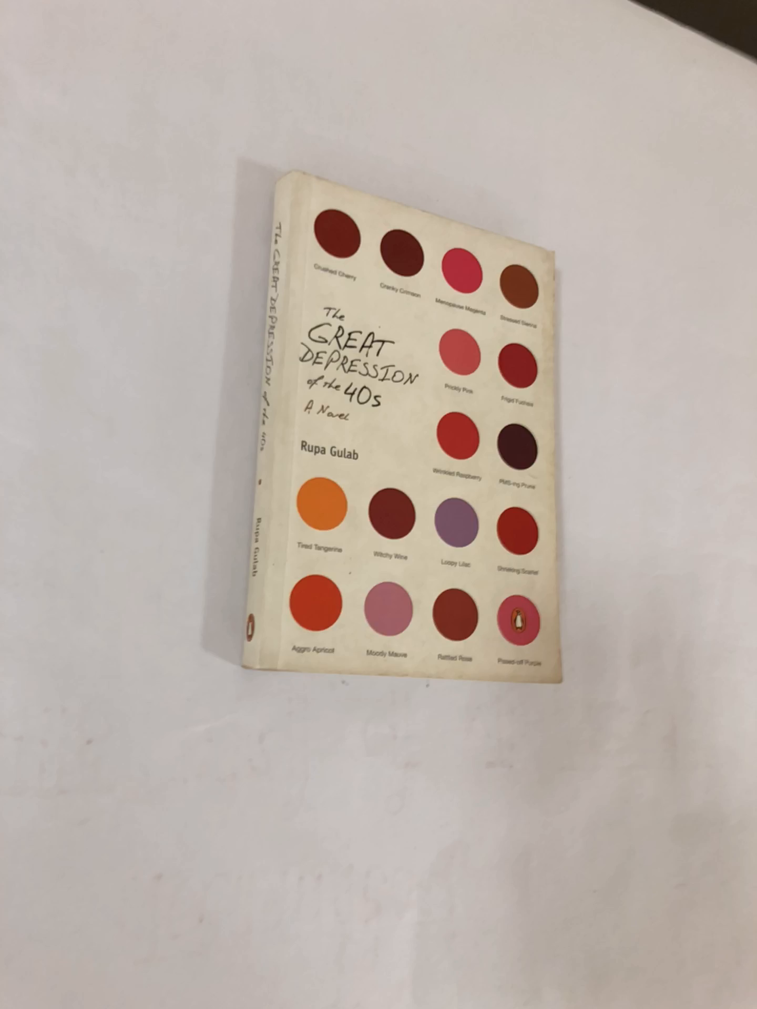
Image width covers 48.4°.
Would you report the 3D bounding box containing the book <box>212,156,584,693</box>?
[{"bbox_3d":[0.014,-0.025,0.333,0.140,0.030,0.190,8,76,-25],"label":"book"}]
